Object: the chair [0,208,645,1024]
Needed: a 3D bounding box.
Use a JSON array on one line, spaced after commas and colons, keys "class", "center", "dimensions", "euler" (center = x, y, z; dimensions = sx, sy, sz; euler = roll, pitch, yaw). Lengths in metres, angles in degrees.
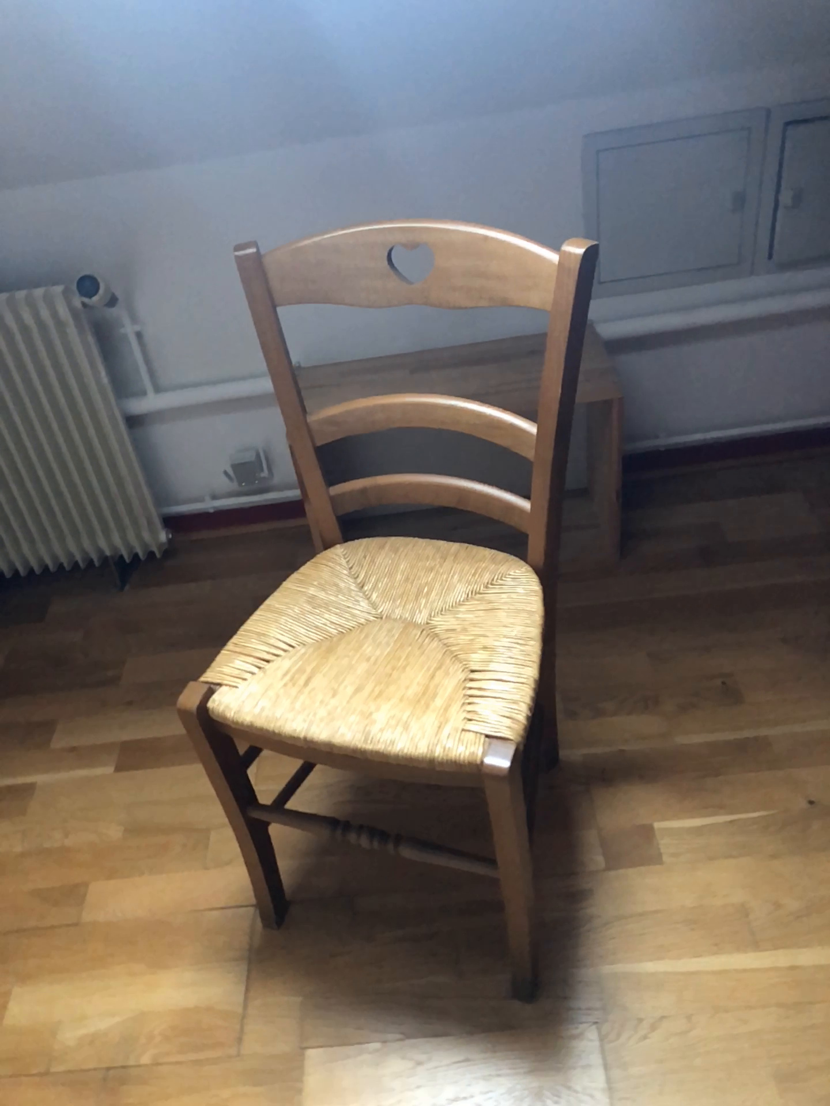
[{"class": "chair", "center": [-0.012, 0.080, 1.043], "dimensions": [0.458, 0.793, 0.436], "euler": [7, 40, 19]}]
